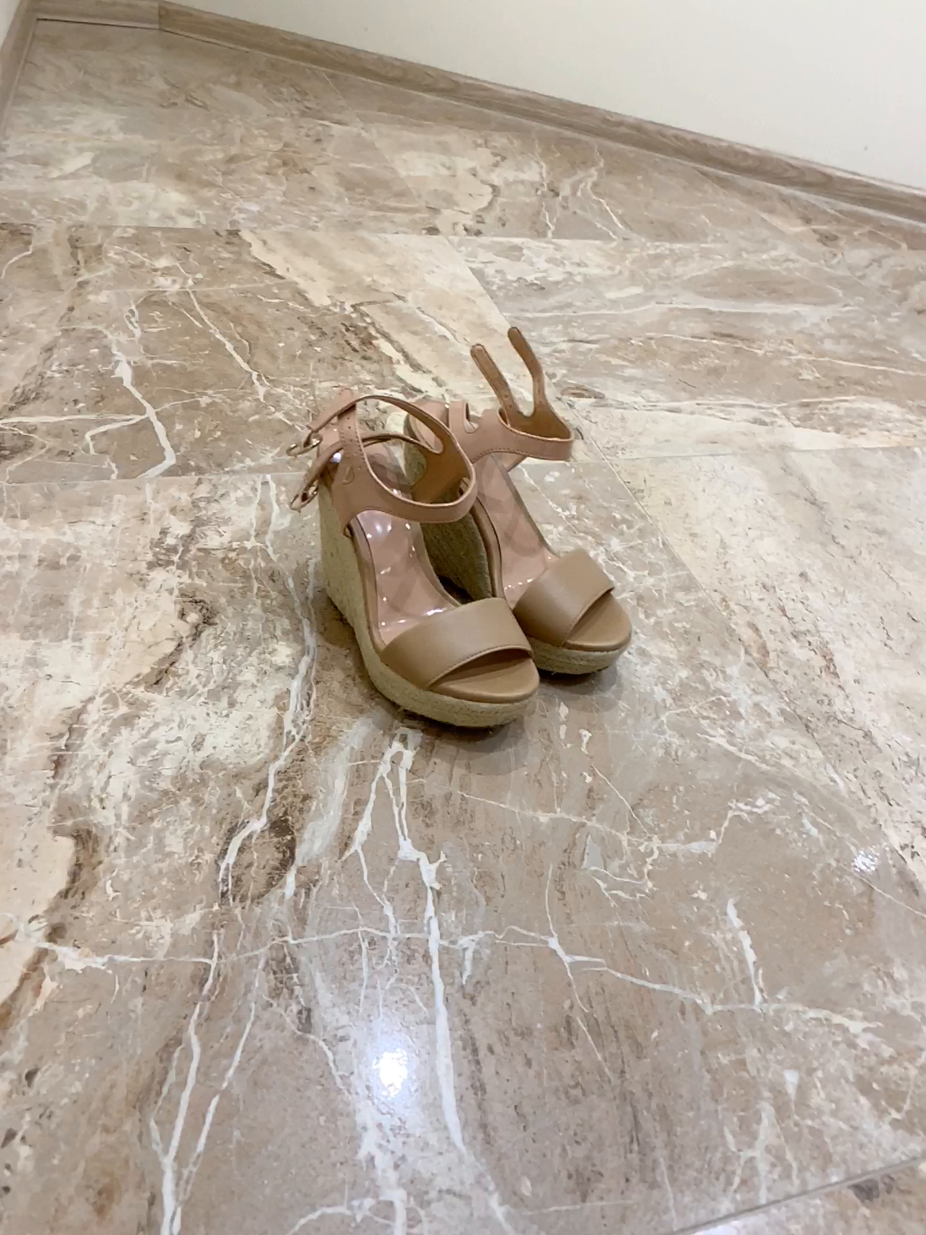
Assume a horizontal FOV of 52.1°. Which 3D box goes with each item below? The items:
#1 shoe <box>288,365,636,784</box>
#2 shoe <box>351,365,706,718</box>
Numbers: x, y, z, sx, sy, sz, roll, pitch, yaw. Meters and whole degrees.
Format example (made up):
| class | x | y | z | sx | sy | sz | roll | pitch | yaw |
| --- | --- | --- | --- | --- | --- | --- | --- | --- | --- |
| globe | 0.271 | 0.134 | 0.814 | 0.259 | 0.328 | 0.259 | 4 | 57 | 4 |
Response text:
| class | x | y | z | sx | sy | sz | roll | pitch | yaw |
| --- | --- | --- | --- | --- | --- | --- | --- | --- | --- |
| shoe | -0.016 | -0.035 | 0.584 | 0.090 | 0.149 | 0.211 | -21 | 47 | -32 |
| shoe | 0.032 | -0.058 | 0.632 | 0.211 | 0.129 | 0.090 | 35 | 46 | 29 |
